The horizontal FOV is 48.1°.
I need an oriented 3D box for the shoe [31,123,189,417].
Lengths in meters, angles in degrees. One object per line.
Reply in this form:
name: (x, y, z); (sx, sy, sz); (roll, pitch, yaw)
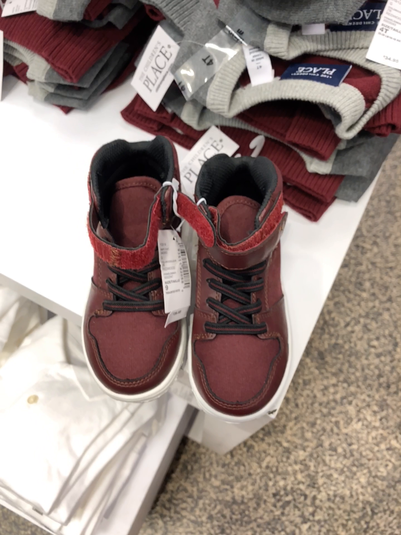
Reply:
shoe: (-0.044, 0.006, 0.288); (0.070, 0.100, 0.160); (1, 65, -1)

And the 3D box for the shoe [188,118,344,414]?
shoe: (0.033, 0.002, 0.313); (0.080, 0.100, 0.180); (1, 65, -1)
